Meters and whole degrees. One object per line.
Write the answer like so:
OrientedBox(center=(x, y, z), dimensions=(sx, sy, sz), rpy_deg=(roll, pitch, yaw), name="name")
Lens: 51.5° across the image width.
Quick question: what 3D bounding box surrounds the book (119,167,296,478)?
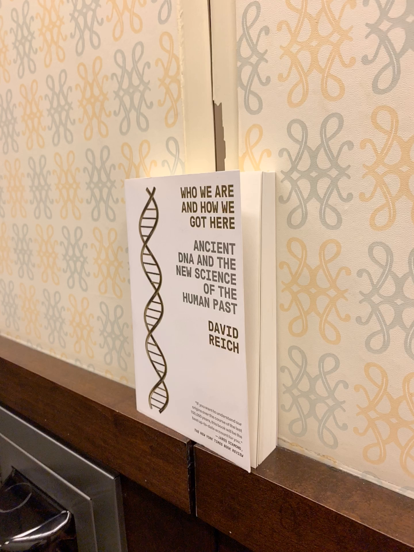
OrientedBox(center=(-0.002, 0.026, 0.321), dimensions=(0.127, 0.199, 0.041), rpy_deg=(6, 13, 37), name="book")
